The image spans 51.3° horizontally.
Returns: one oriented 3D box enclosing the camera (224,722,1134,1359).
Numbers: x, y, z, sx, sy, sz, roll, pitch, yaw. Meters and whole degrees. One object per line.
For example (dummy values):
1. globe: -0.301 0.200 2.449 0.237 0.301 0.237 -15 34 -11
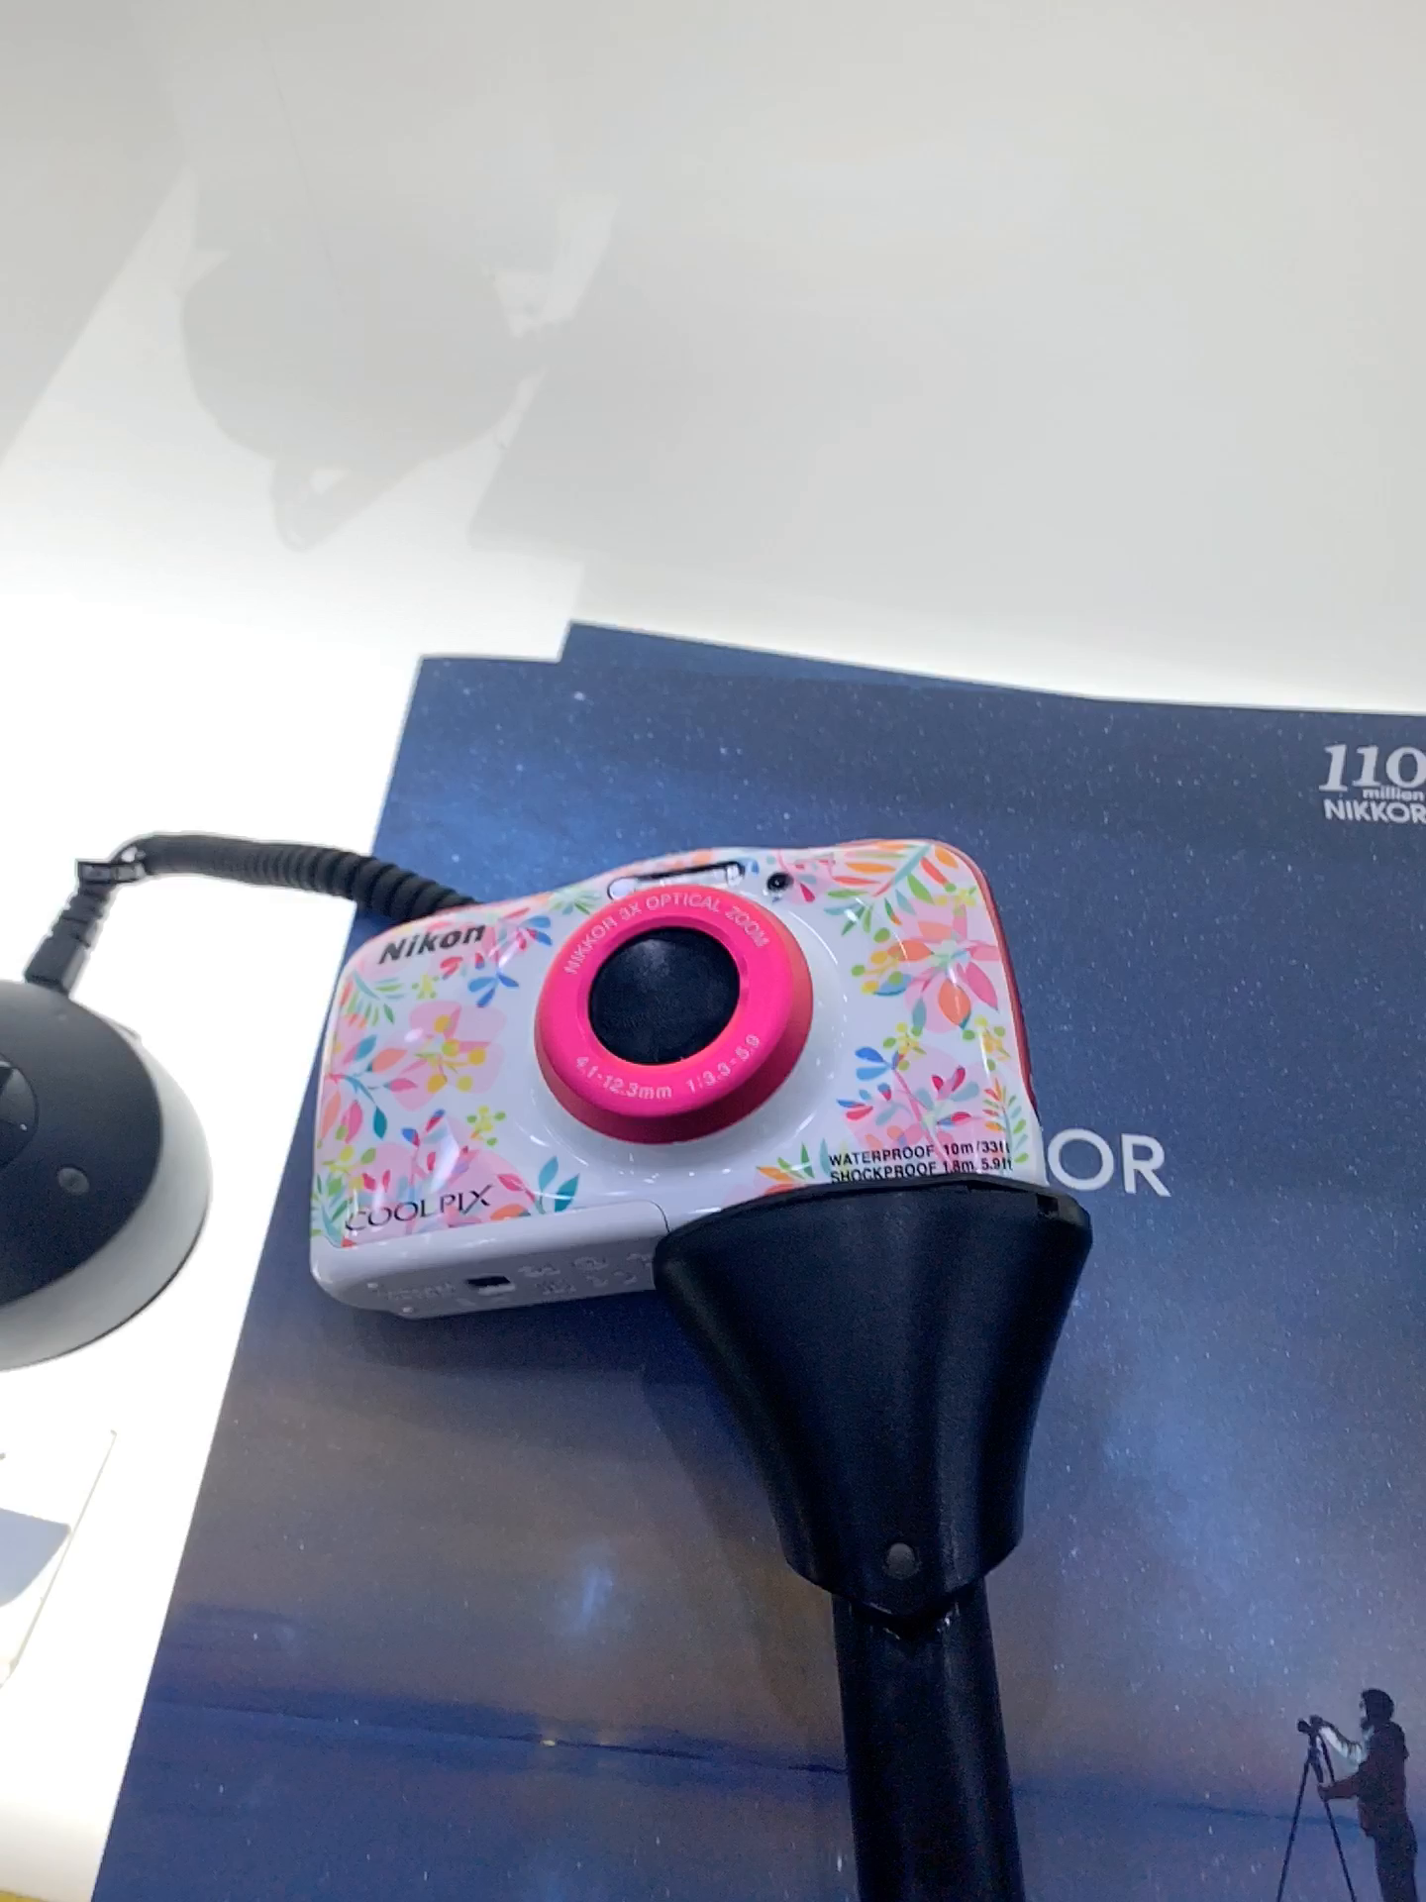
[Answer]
1. camera: -0.006 0.011 0.220 0.110 0.040 0.080 -3 50 -2
